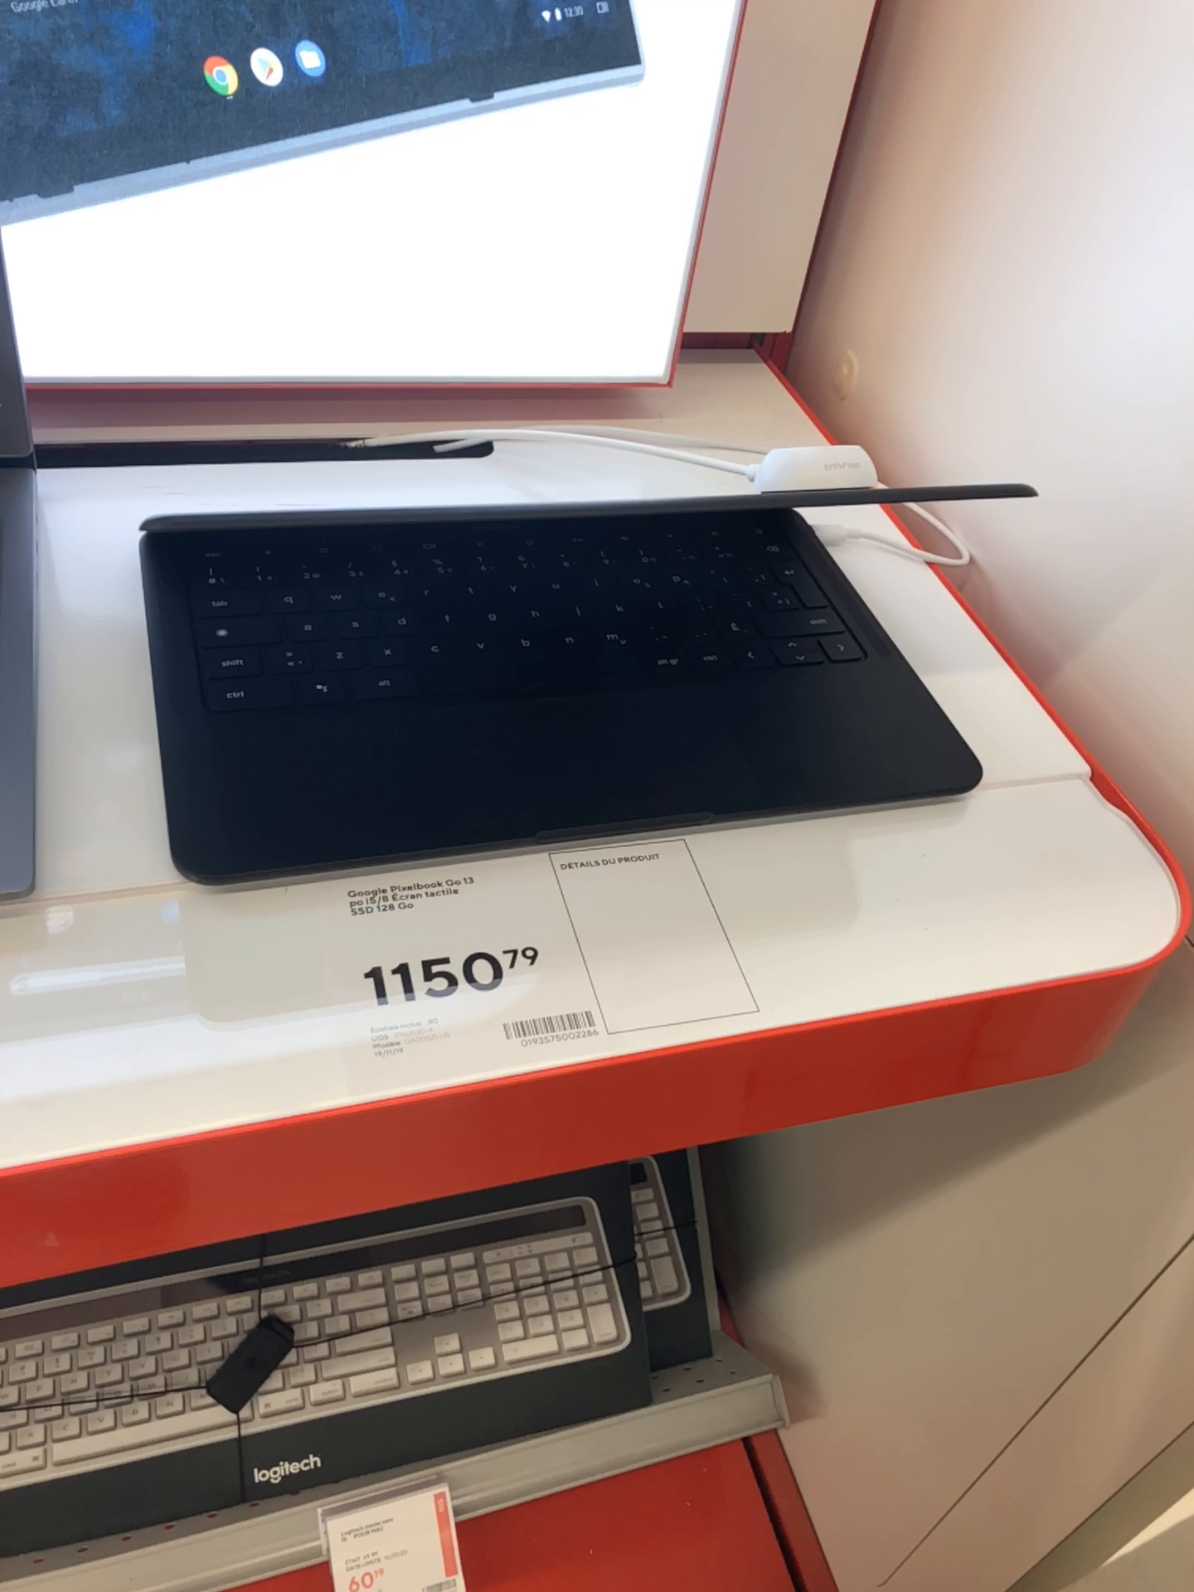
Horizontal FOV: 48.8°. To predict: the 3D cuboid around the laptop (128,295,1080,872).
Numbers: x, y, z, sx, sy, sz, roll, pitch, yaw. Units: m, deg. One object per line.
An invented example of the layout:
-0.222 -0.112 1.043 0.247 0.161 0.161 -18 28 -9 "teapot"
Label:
-0.013 -0.097 0.505 0.298 0.106 0.200 -6 45 -18 "laptop"
